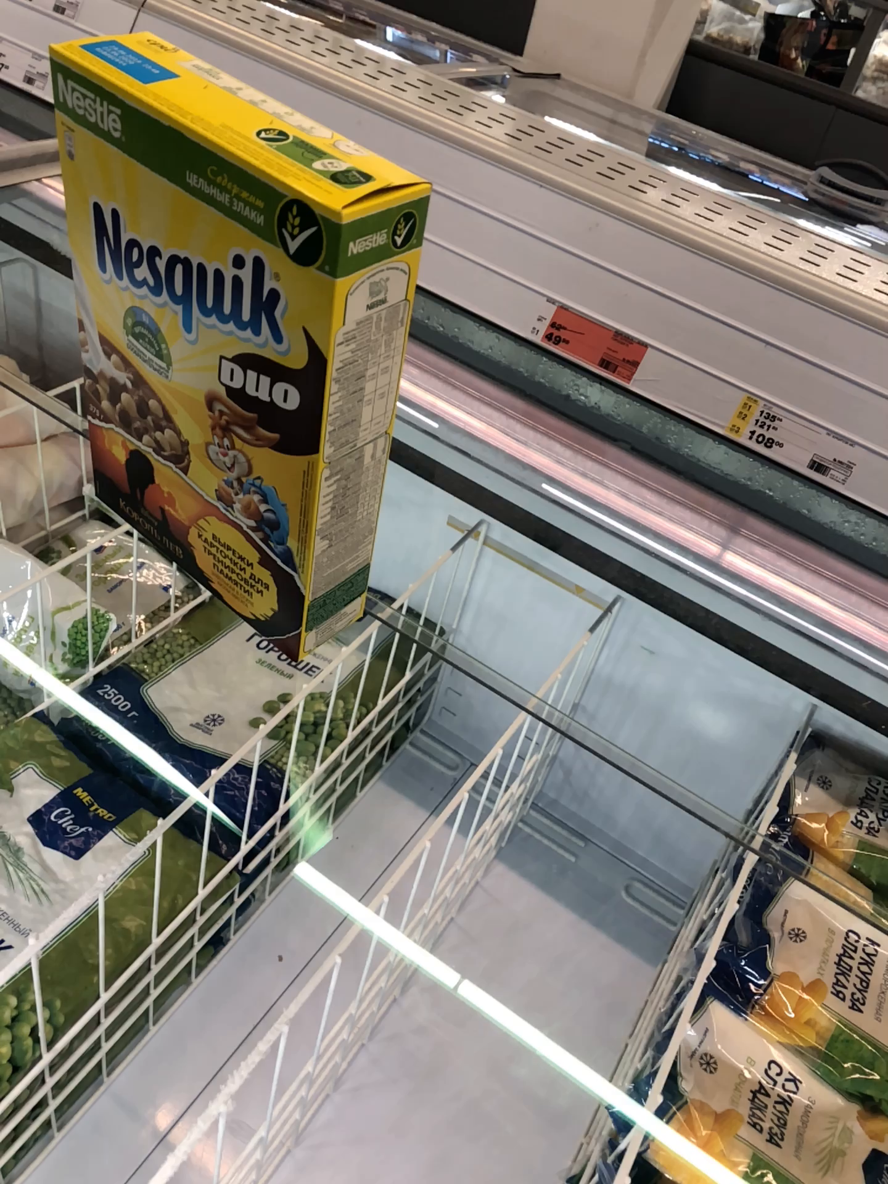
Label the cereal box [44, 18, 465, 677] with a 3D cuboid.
[{"bbox_3d":[-0.112,-0.121,0.526,0.200,0.278,0.070,36,47,23],"label":"cereal box"}]
